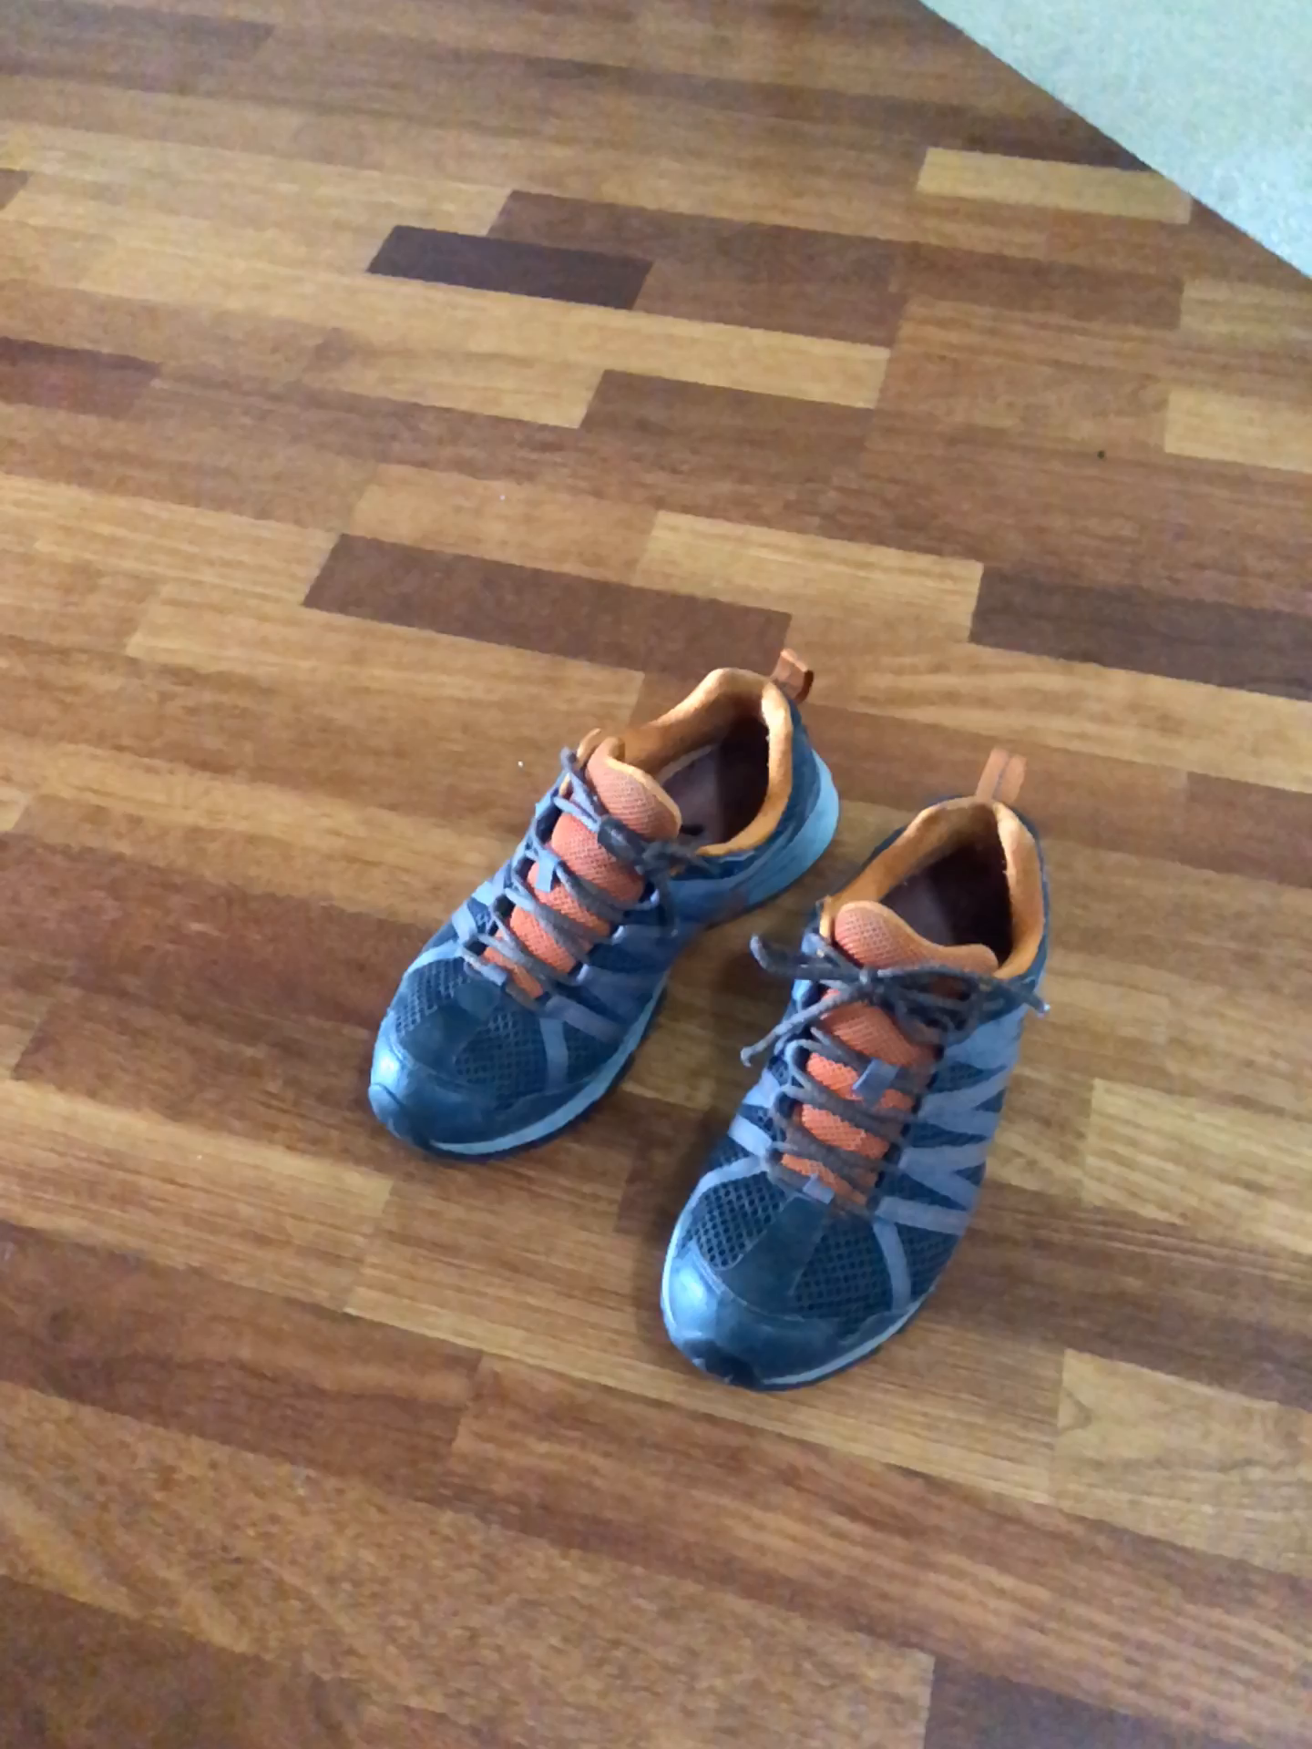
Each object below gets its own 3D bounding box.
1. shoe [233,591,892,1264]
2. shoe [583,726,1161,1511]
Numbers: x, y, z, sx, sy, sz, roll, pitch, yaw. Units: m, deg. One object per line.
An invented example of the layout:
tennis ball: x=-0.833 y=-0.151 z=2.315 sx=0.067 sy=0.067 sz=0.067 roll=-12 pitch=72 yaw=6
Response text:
shoe: x=-0.030 y=0.017 z=0.652 sx=0.113 sy=0.117 sz=0.282 roll=36 pitch=64 yaw=23
shoe: x=0.095 y=0.092 z=0.601 sx=0.119 sy=0.117 sz=0.279 roll=23 pitch=59 yaw=17
